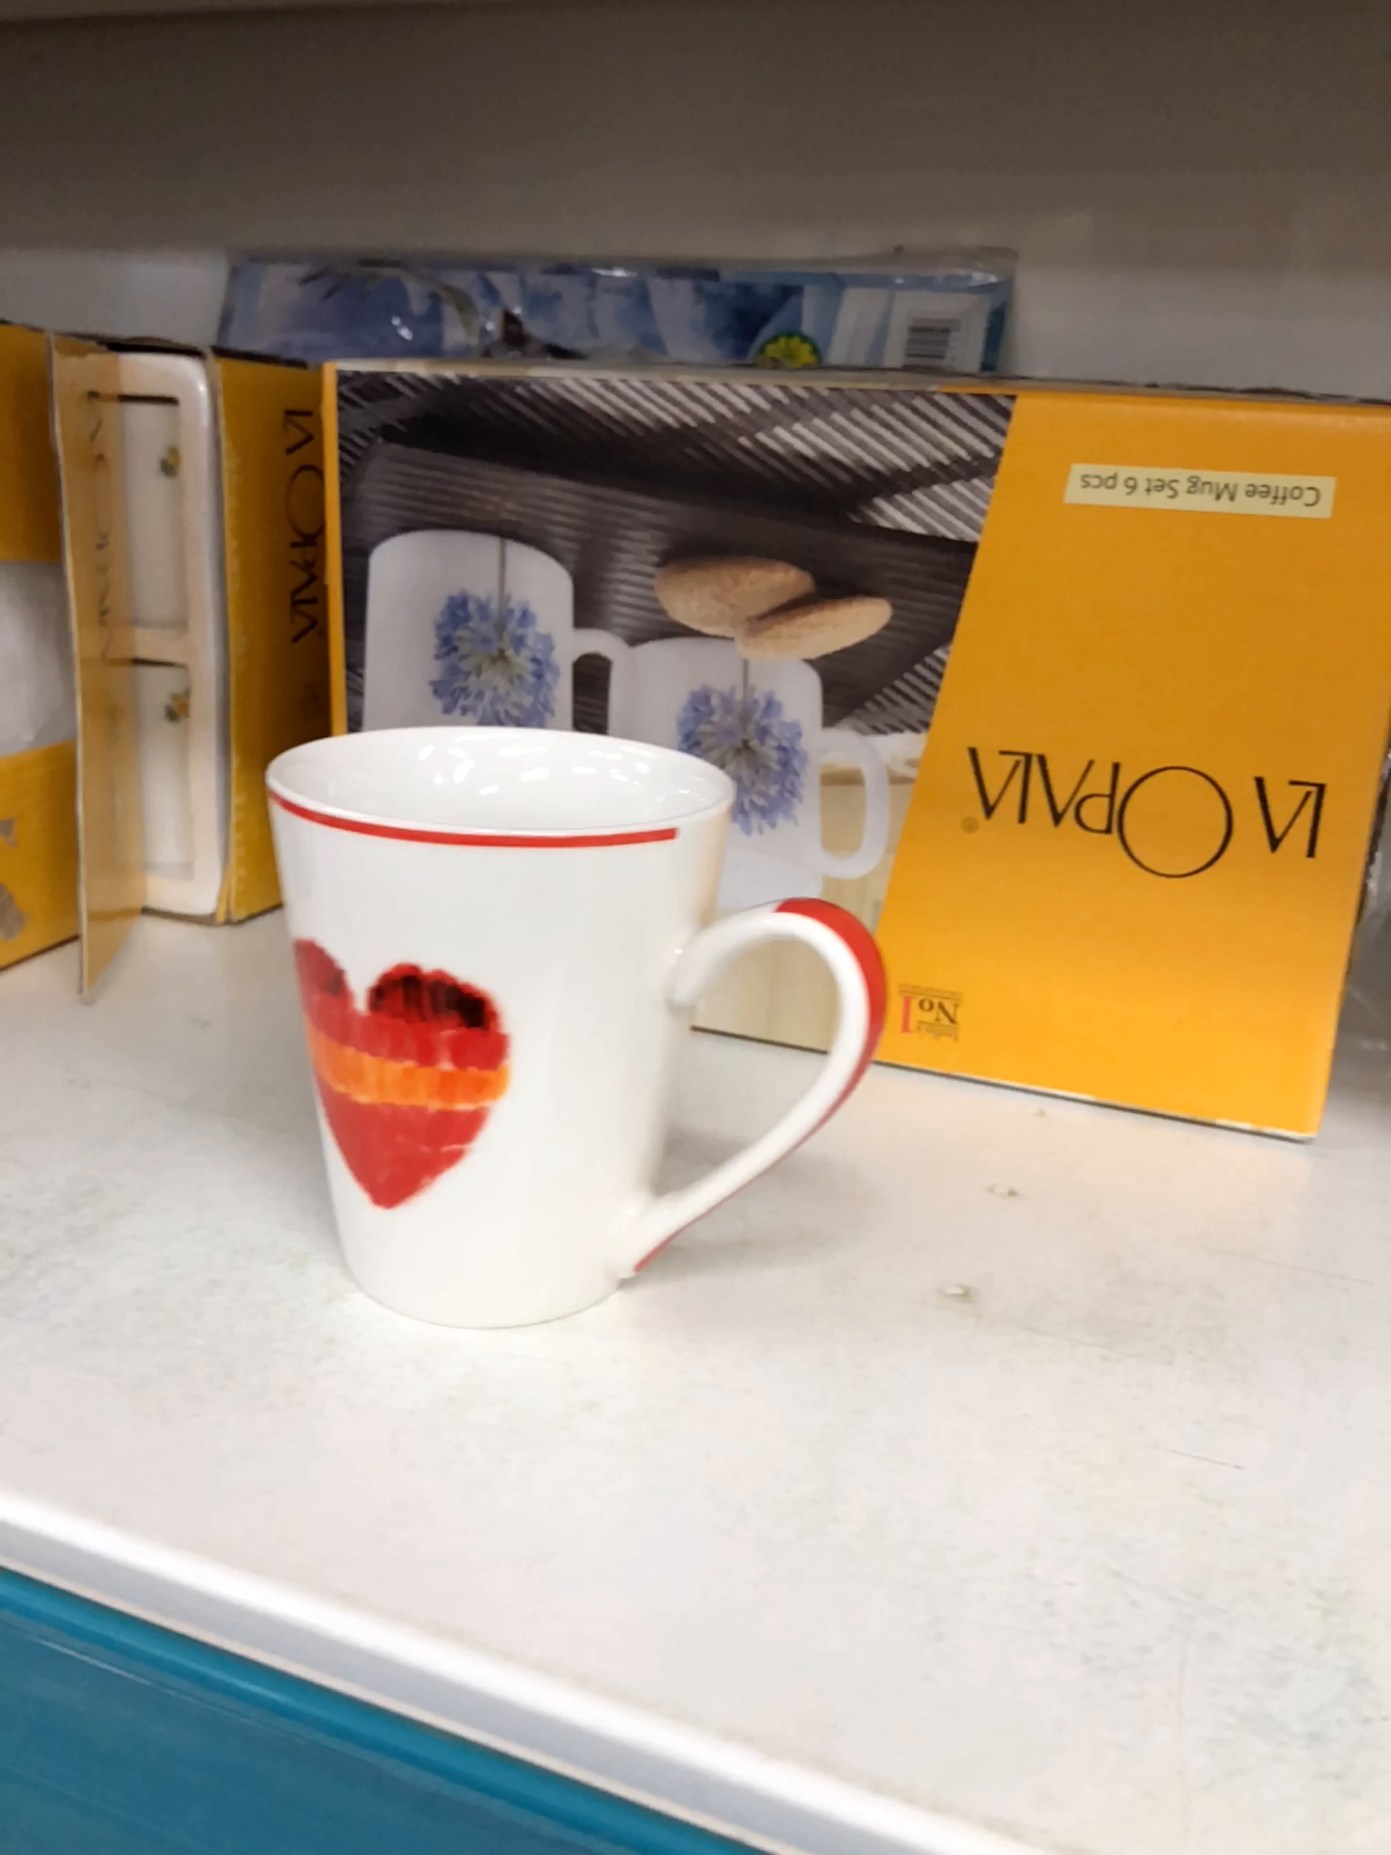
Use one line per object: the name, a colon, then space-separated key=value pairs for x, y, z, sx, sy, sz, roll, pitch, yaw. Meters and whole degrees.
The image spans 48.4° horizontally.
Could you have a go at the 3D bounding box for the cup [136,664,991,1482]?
cup: x=-0.022 y=0.014 z=0.276 sx=0.120 sy=0.100 sz=0.080 roll=12 pitch=19 yaw=24
